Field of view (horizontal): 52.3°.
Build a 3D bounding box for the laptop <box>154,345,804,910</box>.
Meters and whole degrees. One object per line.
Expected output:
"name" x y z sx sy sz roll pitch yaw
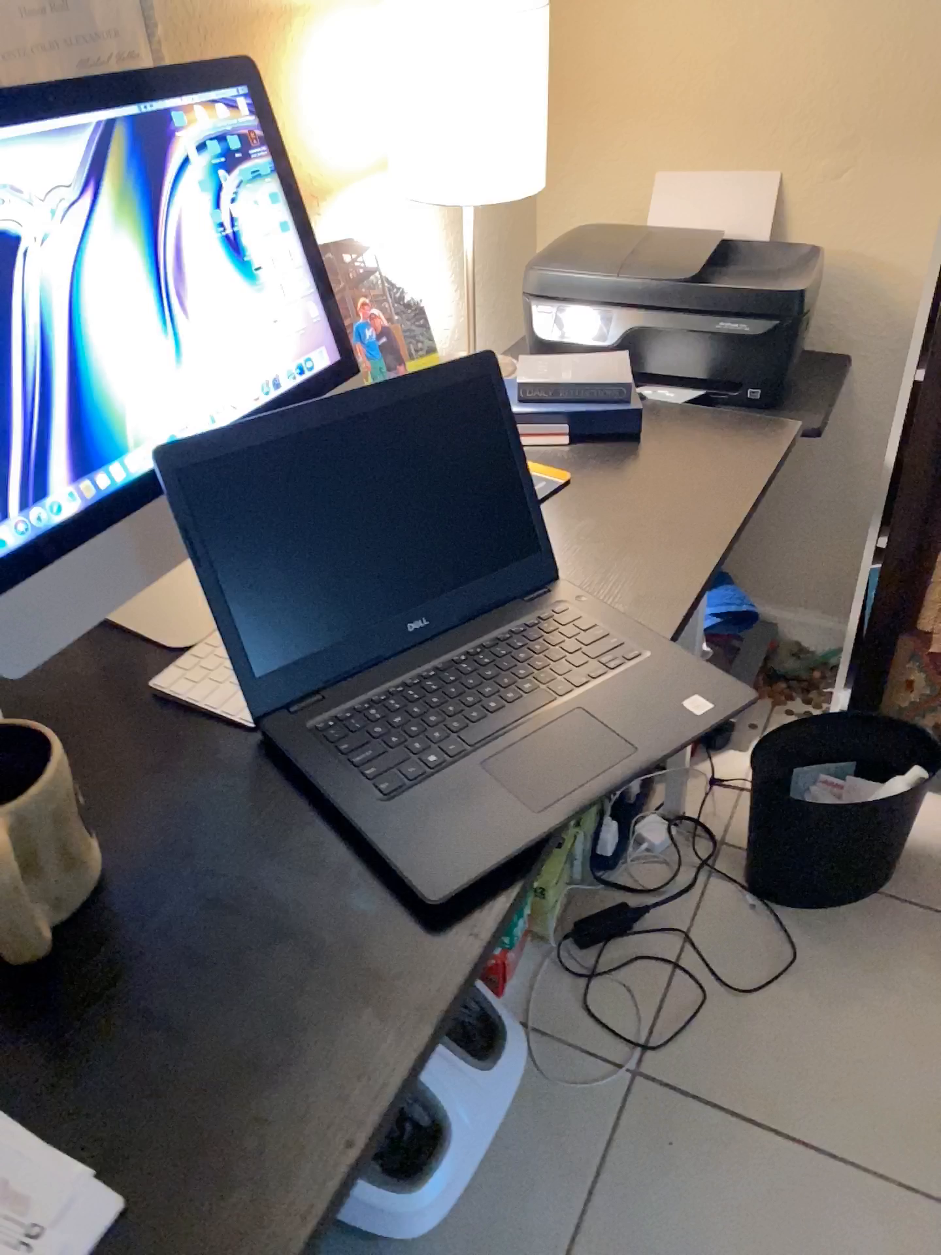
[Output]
"laptop" 0.000 -0.040 0.763 0.337 0.206 0.344 -26 41 -29
